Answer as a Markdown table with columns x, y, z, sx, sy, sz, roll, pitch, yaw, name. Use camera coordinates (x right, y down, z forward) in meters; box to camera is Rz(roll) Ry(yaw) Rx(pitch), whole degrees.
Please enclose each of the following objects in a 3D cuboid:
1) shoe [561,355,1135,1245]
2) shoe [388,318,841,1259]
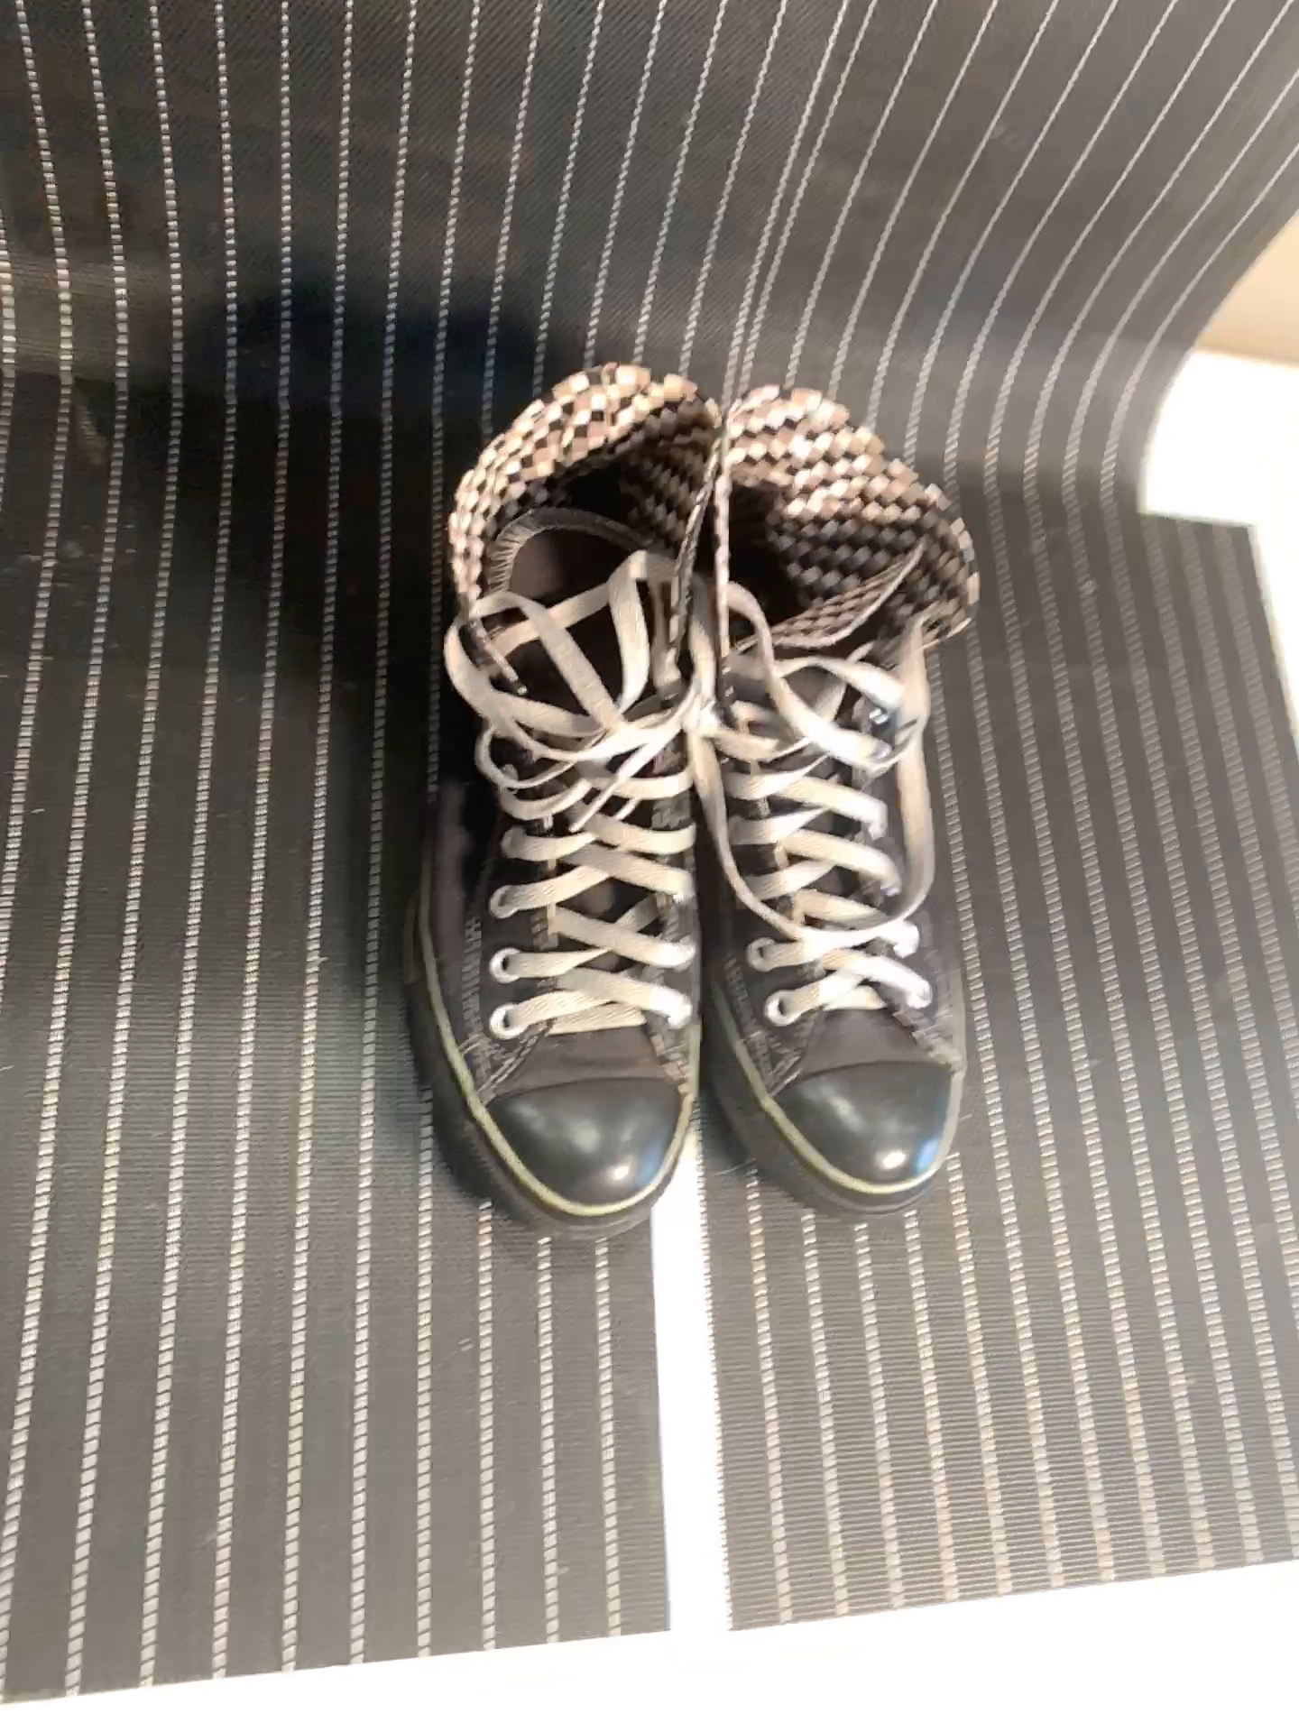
| x | y | z | sx | sy | sz | roll | pitch | yaw | name |
| --- | --- | --- | --- | --- | --- | --- | --- | --- | --- |
| 0.055 | -0.022 | 0.491 | 0.110 | 0.130 | 0.290 | -5 | 73 | -17 | shoe |
| -0.027 | -0.021 | 0.465 | 0.110 | 0.130 | 0.290 | 0 | 72 | -15 | shoe |
